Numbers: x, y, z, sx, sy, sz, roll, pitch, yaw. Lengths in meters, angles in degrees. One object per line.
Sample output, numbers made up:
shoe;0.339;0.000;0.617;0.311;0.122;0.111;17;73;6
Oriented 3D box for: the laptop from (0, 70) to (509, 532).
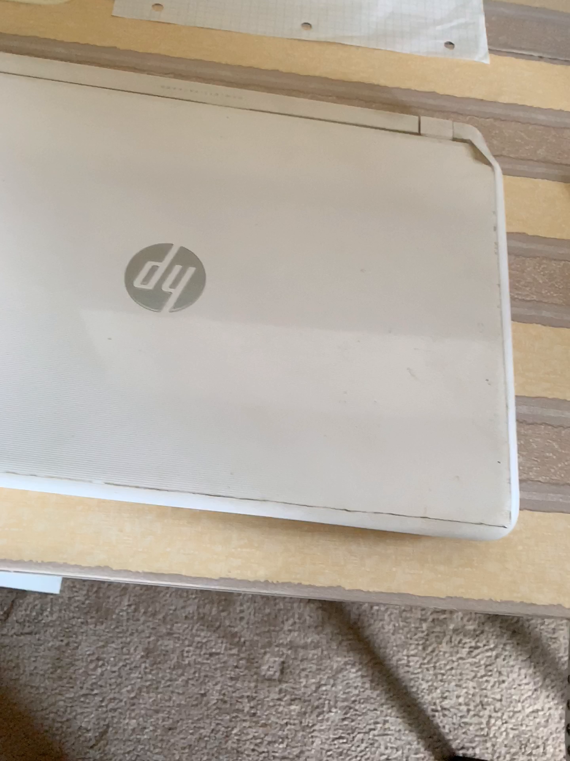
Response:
laptop;-0.062;-0.056;0.315;0.363;0.002;0.229;7;68;-2
